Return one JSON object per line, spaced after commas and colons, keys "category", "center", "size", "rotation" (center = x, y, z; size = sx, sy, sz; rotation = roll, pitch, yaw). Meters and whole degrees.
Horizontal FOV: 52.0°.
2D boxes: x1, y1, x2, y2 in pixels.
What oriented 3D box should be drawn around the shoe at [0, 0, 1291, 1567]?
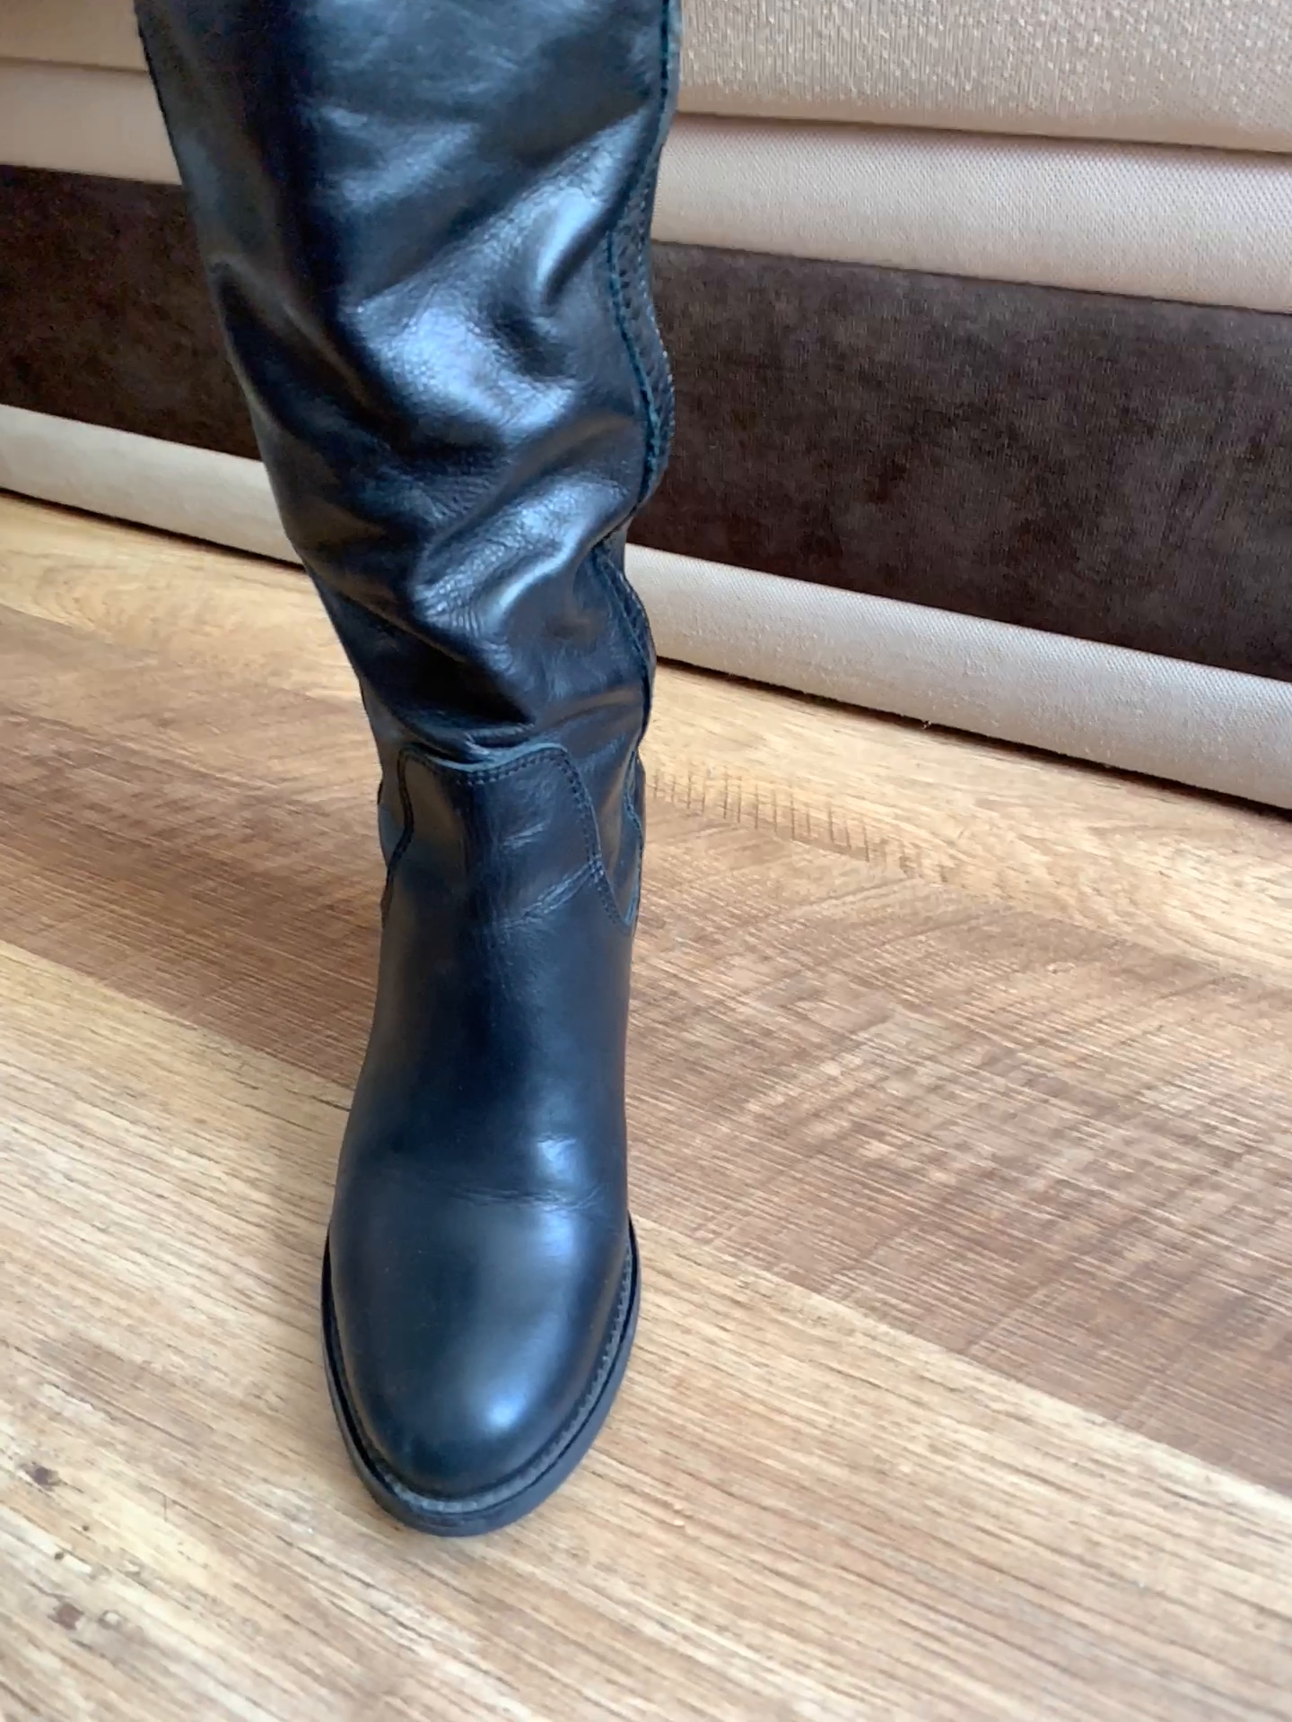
{"category": "shoe", "center": [-0.035, -0.110, 0.225], "size": [0.100, 0.497, 0.211], "rotation": [2, 37, 3]}
